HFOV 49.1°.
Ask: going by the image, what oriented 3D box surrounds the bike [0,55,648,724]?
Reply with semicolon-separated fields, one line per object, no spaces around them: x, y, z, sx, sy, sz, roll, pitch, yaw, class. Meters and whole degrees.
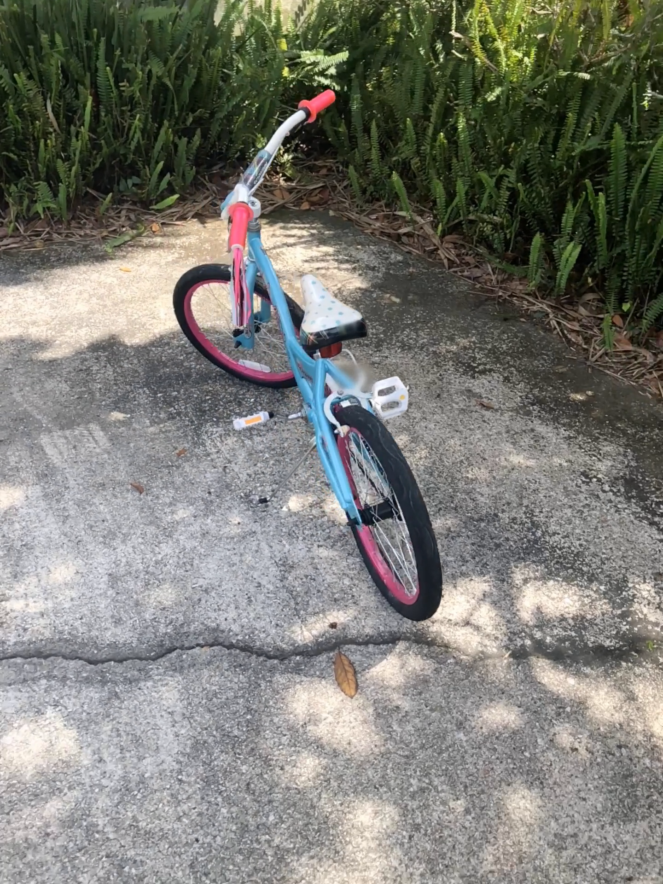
-0.187;-0.261;1.708;0.700;0.923;1.315;-16;41;-26;bike
